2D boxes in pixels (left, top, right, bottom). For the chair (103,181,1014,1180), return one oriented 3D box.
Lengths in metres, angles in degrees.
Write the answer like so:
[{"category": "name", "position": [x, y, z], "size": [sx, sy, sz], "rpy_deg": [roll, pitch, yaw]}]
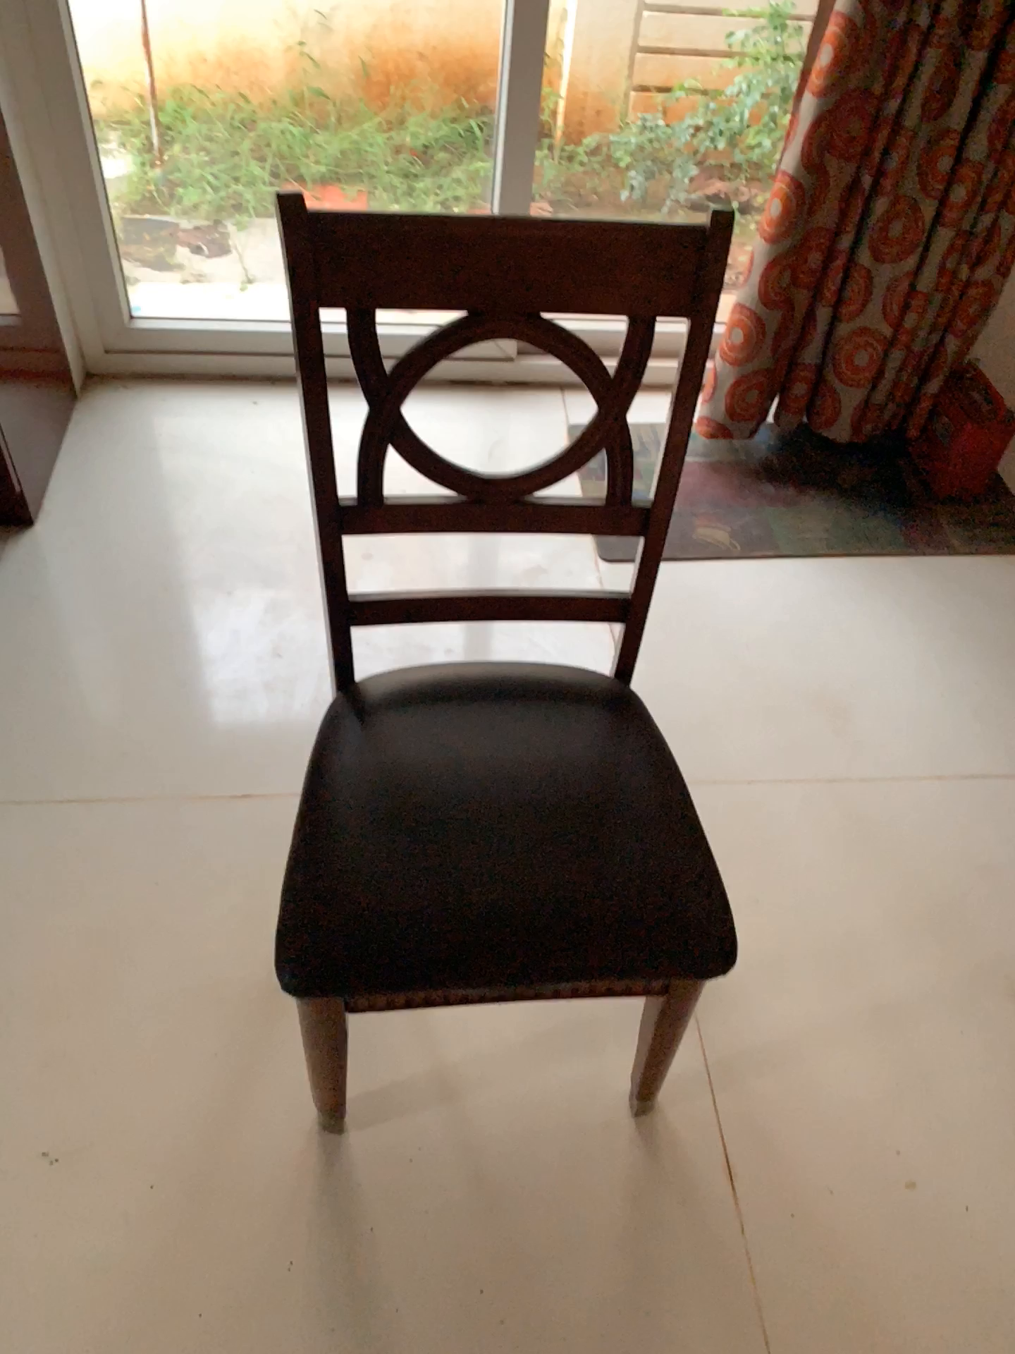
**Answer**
[{"category": "chair", "position": [-0.011, 0.086, 1.227], "size": [0.570, 1.026, 0.643], "rpy_deg": [0, 49, -6]}]
